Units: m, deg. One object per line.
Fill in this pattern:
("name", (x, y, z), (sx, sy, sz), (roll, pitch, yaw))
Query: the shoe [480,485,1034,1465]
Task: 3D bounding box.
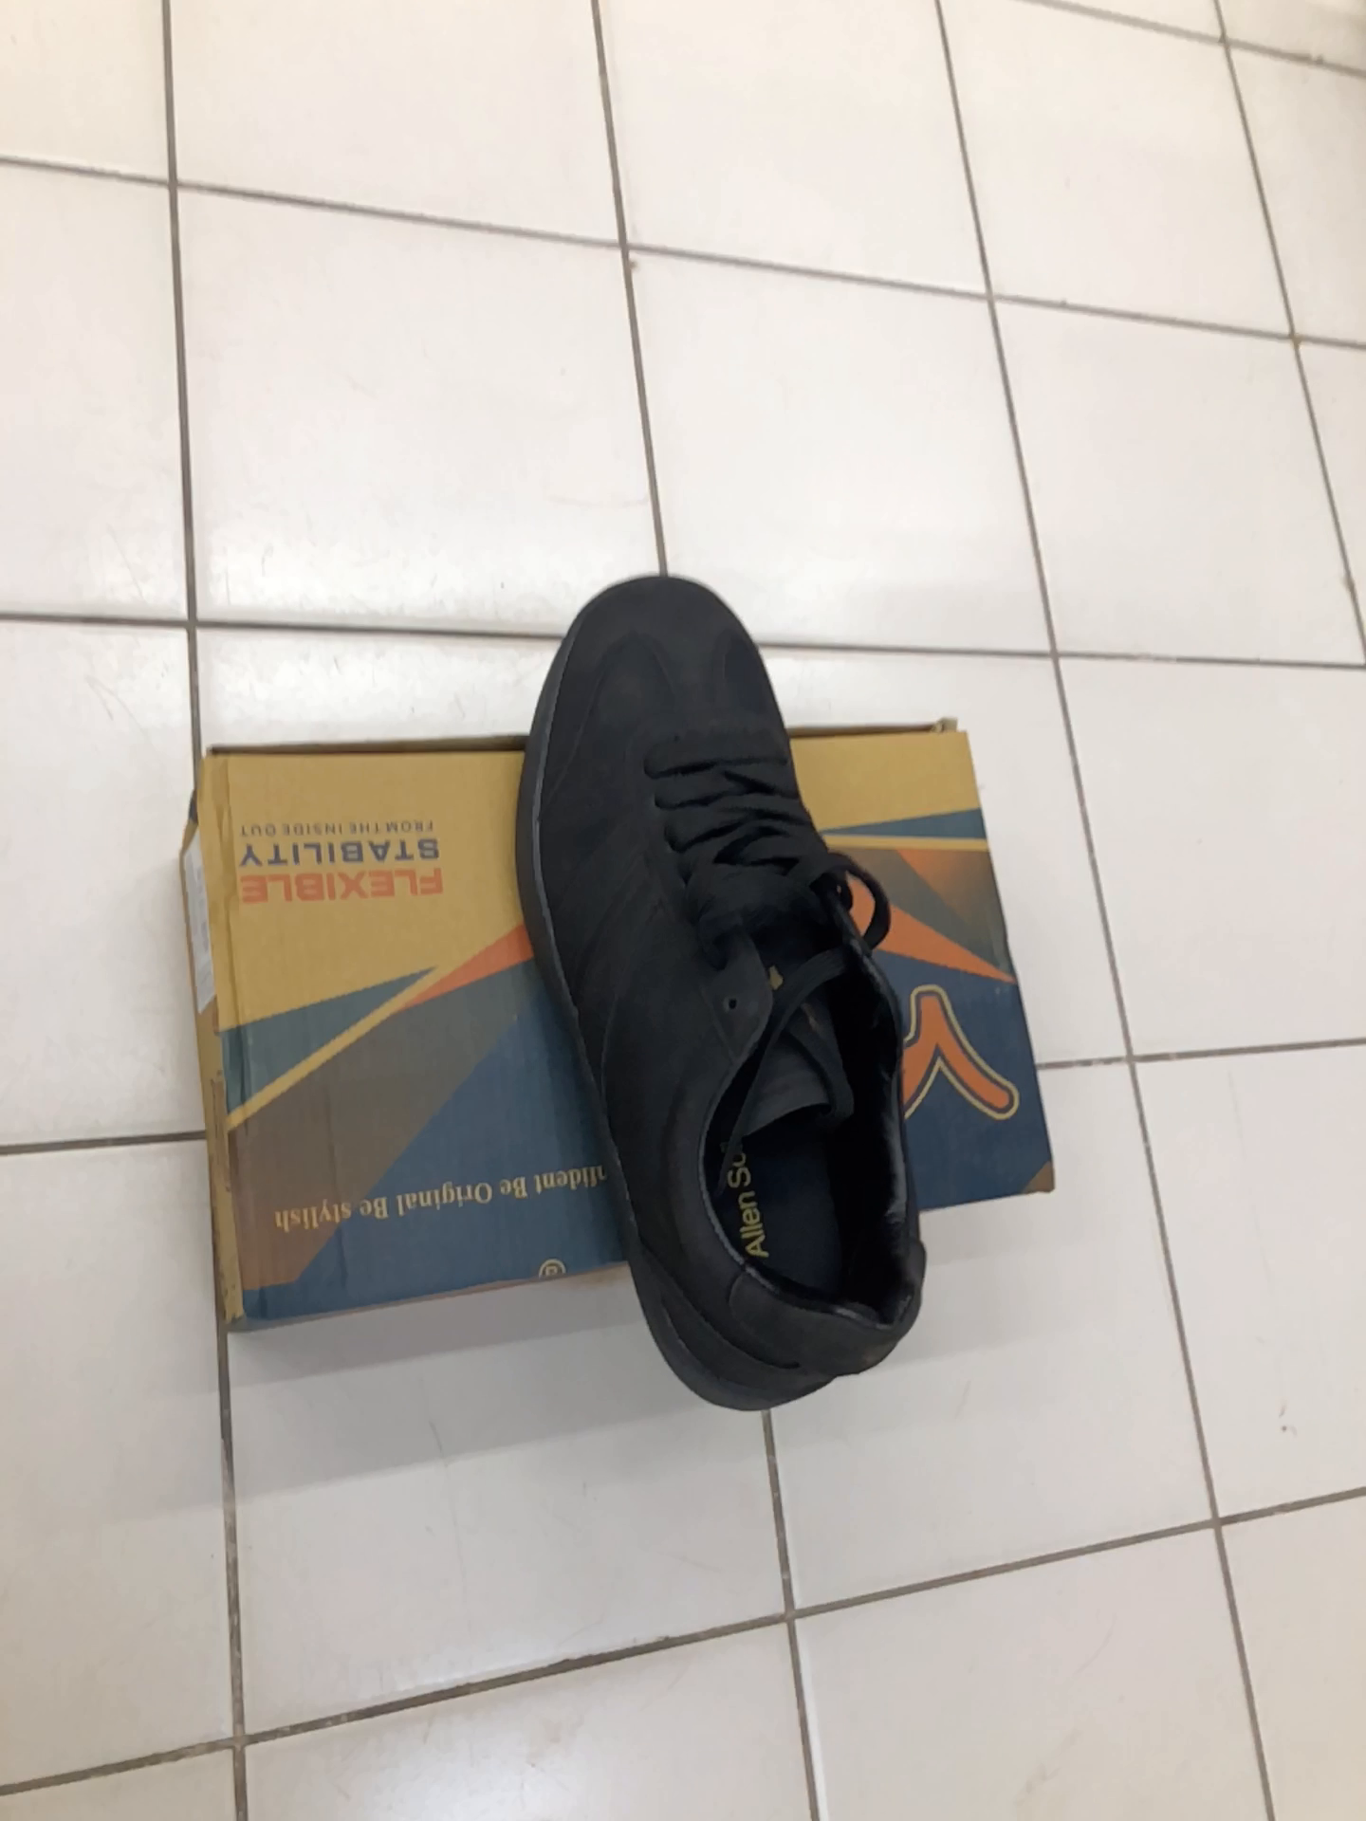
("shoe", (0.013, 0.014, 0.440), (0.090, 0.080, 0.260), (-6, 77, -22))
